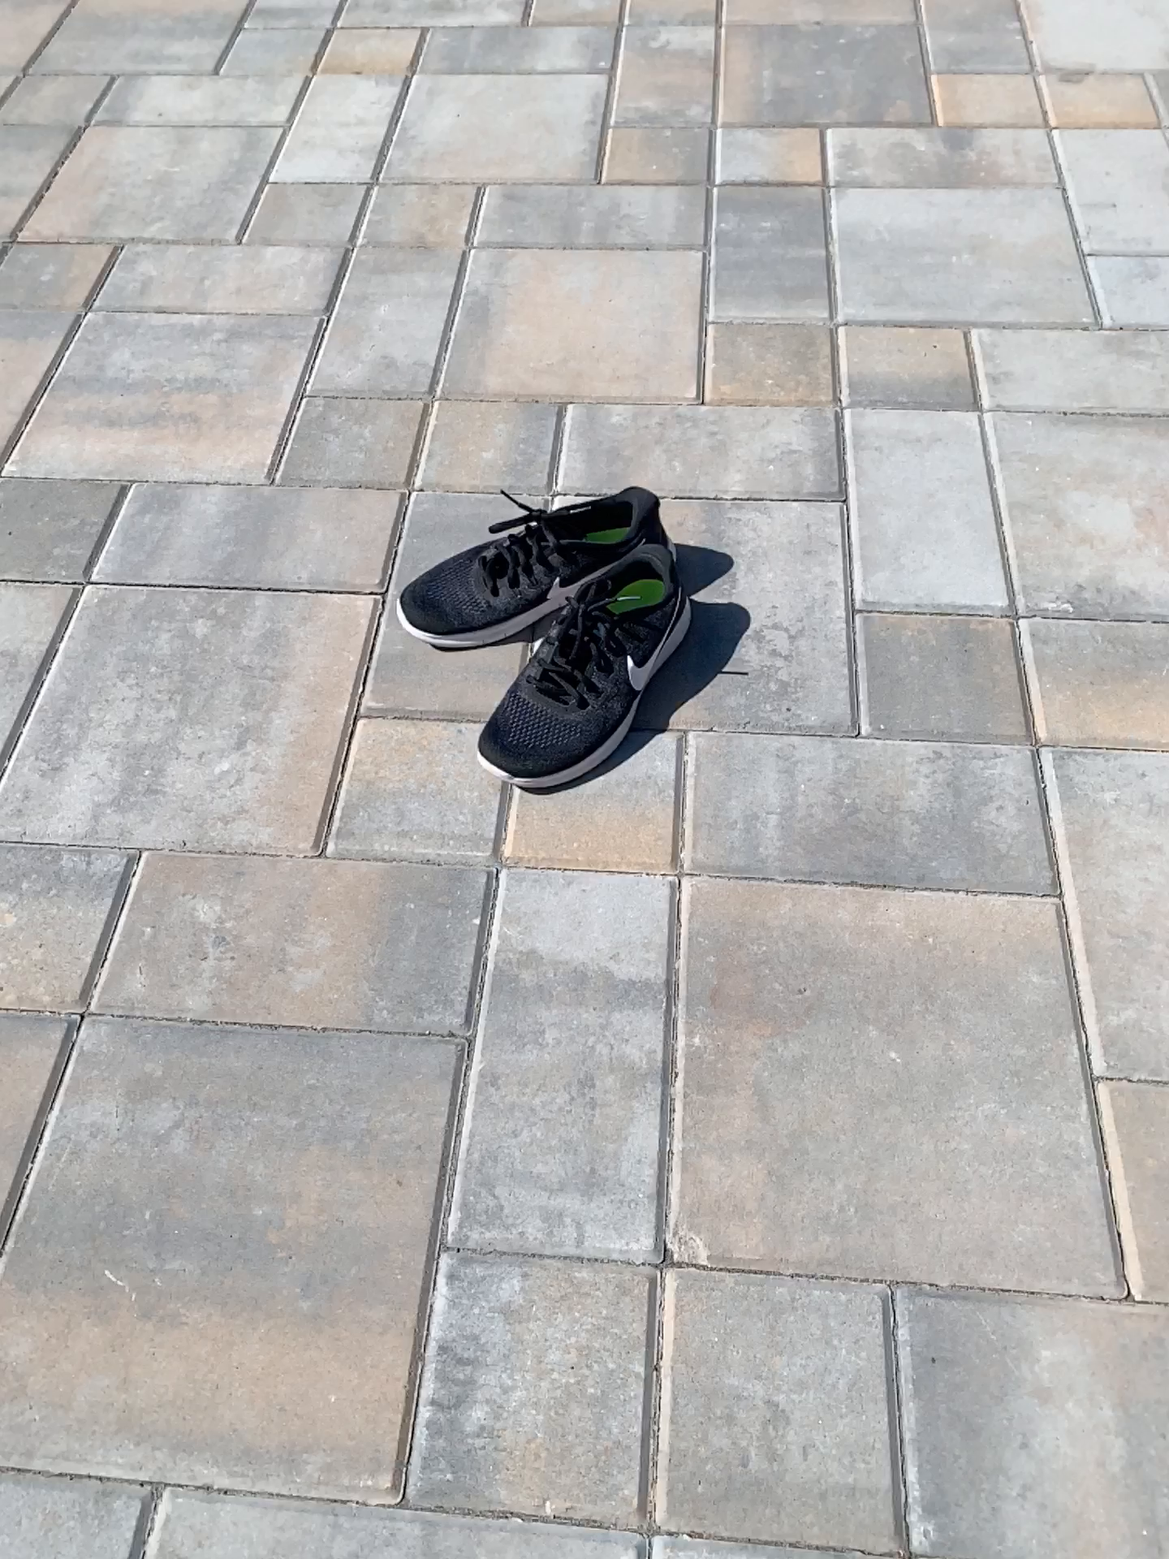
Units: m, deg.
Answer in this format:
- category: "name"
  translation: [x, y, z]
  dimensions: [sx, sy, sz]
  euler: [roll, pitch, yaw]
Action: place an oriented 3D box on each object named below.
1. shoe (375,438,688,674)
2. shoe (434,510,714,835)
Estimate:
- category: "shoe"
  translation: [-0.045, -0.203, 1.078]
  dimensions: [0.250, 0.100, 0.110]
  euler: [-18, 56, -10]
- category: "shoe"
  translation: [-0.002, -0.097, 1.022]
  dimensions: [0.110, 0.110, 0.250]
  euler: [27, 60, 20]
